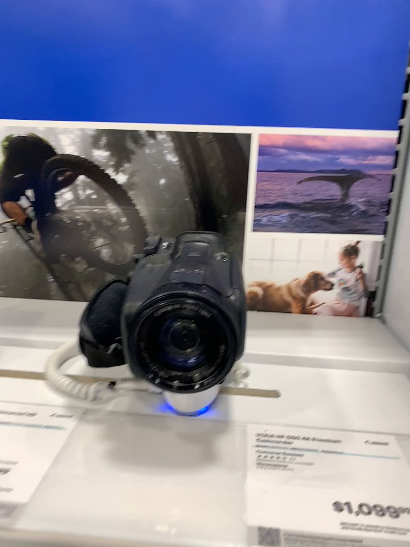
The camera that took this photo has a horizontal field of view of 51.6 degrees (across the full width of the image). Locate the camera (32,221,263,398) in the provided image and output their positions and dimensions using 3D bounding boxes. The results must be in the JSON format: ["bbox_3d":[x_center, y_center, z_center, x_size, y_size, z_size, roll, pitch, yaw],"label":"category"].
[{"bbox_3d":[-0.031,0.011,0.346,0.131,0.069,0.201,4,16,1],"label":"camera"}]
